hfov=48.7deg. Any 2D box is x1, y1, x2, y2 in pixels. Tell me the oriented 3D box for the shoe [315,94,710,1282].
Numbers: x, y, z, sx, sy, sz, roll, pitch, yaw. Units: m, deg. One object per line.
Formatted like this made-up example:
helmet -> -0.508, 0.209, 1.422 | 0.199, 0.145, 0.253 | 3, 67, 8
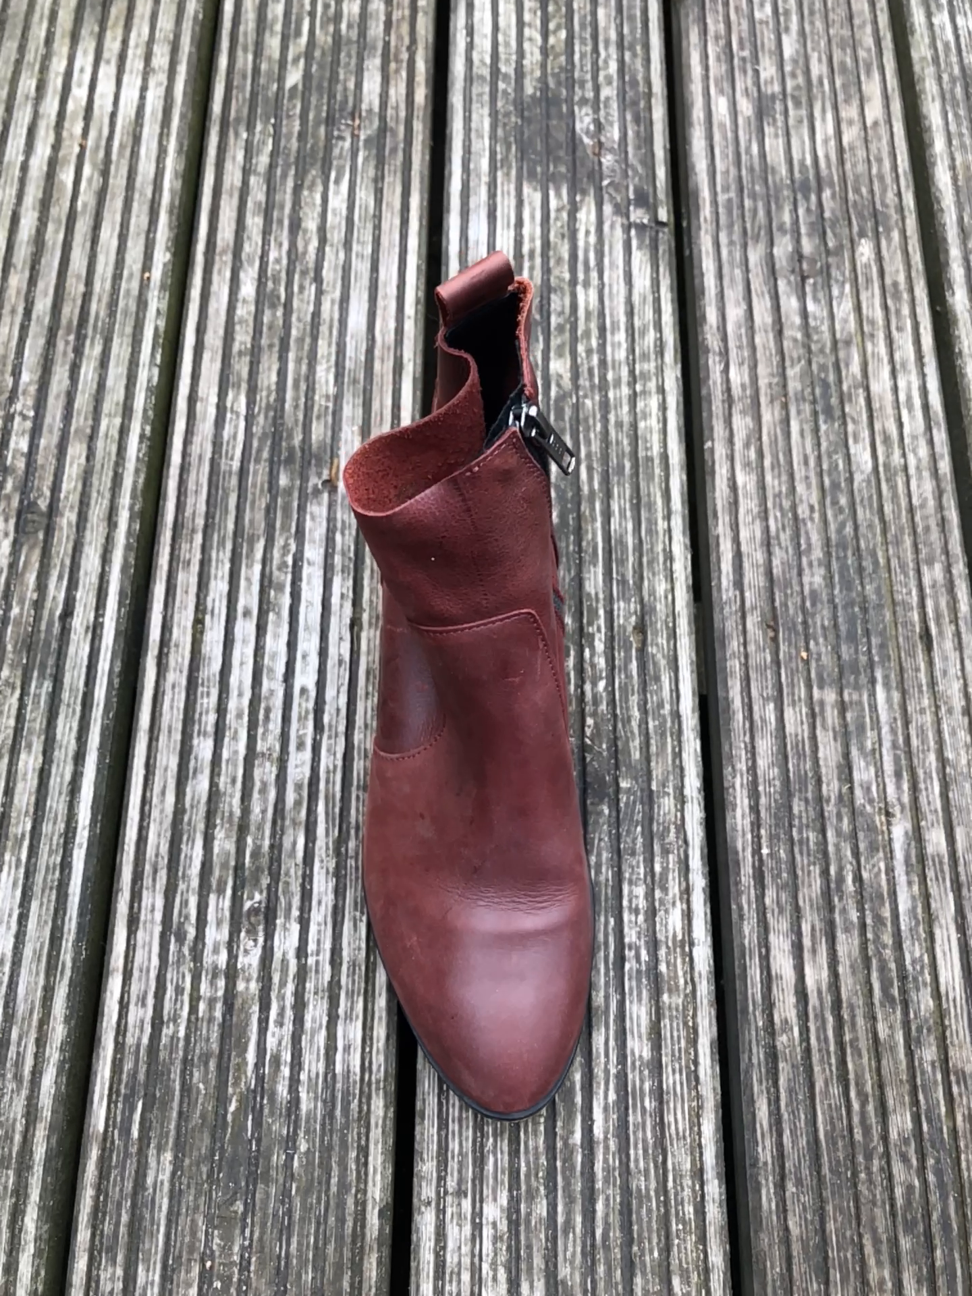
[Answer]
shoe -> 0.010, 0.018, 0.412 | 0.090, 0.239, 0.341 | 1, 72, 0
